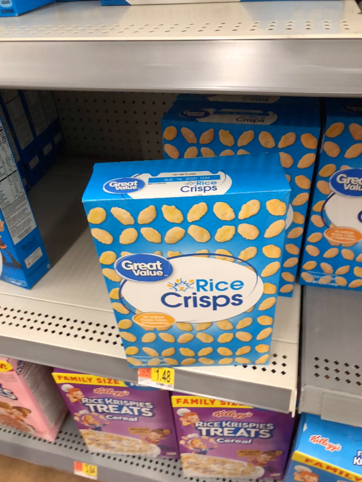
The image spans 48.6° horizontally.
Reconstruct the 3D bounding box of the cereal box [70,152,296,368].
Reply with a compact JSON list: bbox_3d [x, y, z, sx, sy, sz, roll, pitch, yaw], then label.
[{"bbox_3d":[0.012,0.041,0.468,0.200,0.269,0.070,-3,41,4],"label":"cereal box"}]
